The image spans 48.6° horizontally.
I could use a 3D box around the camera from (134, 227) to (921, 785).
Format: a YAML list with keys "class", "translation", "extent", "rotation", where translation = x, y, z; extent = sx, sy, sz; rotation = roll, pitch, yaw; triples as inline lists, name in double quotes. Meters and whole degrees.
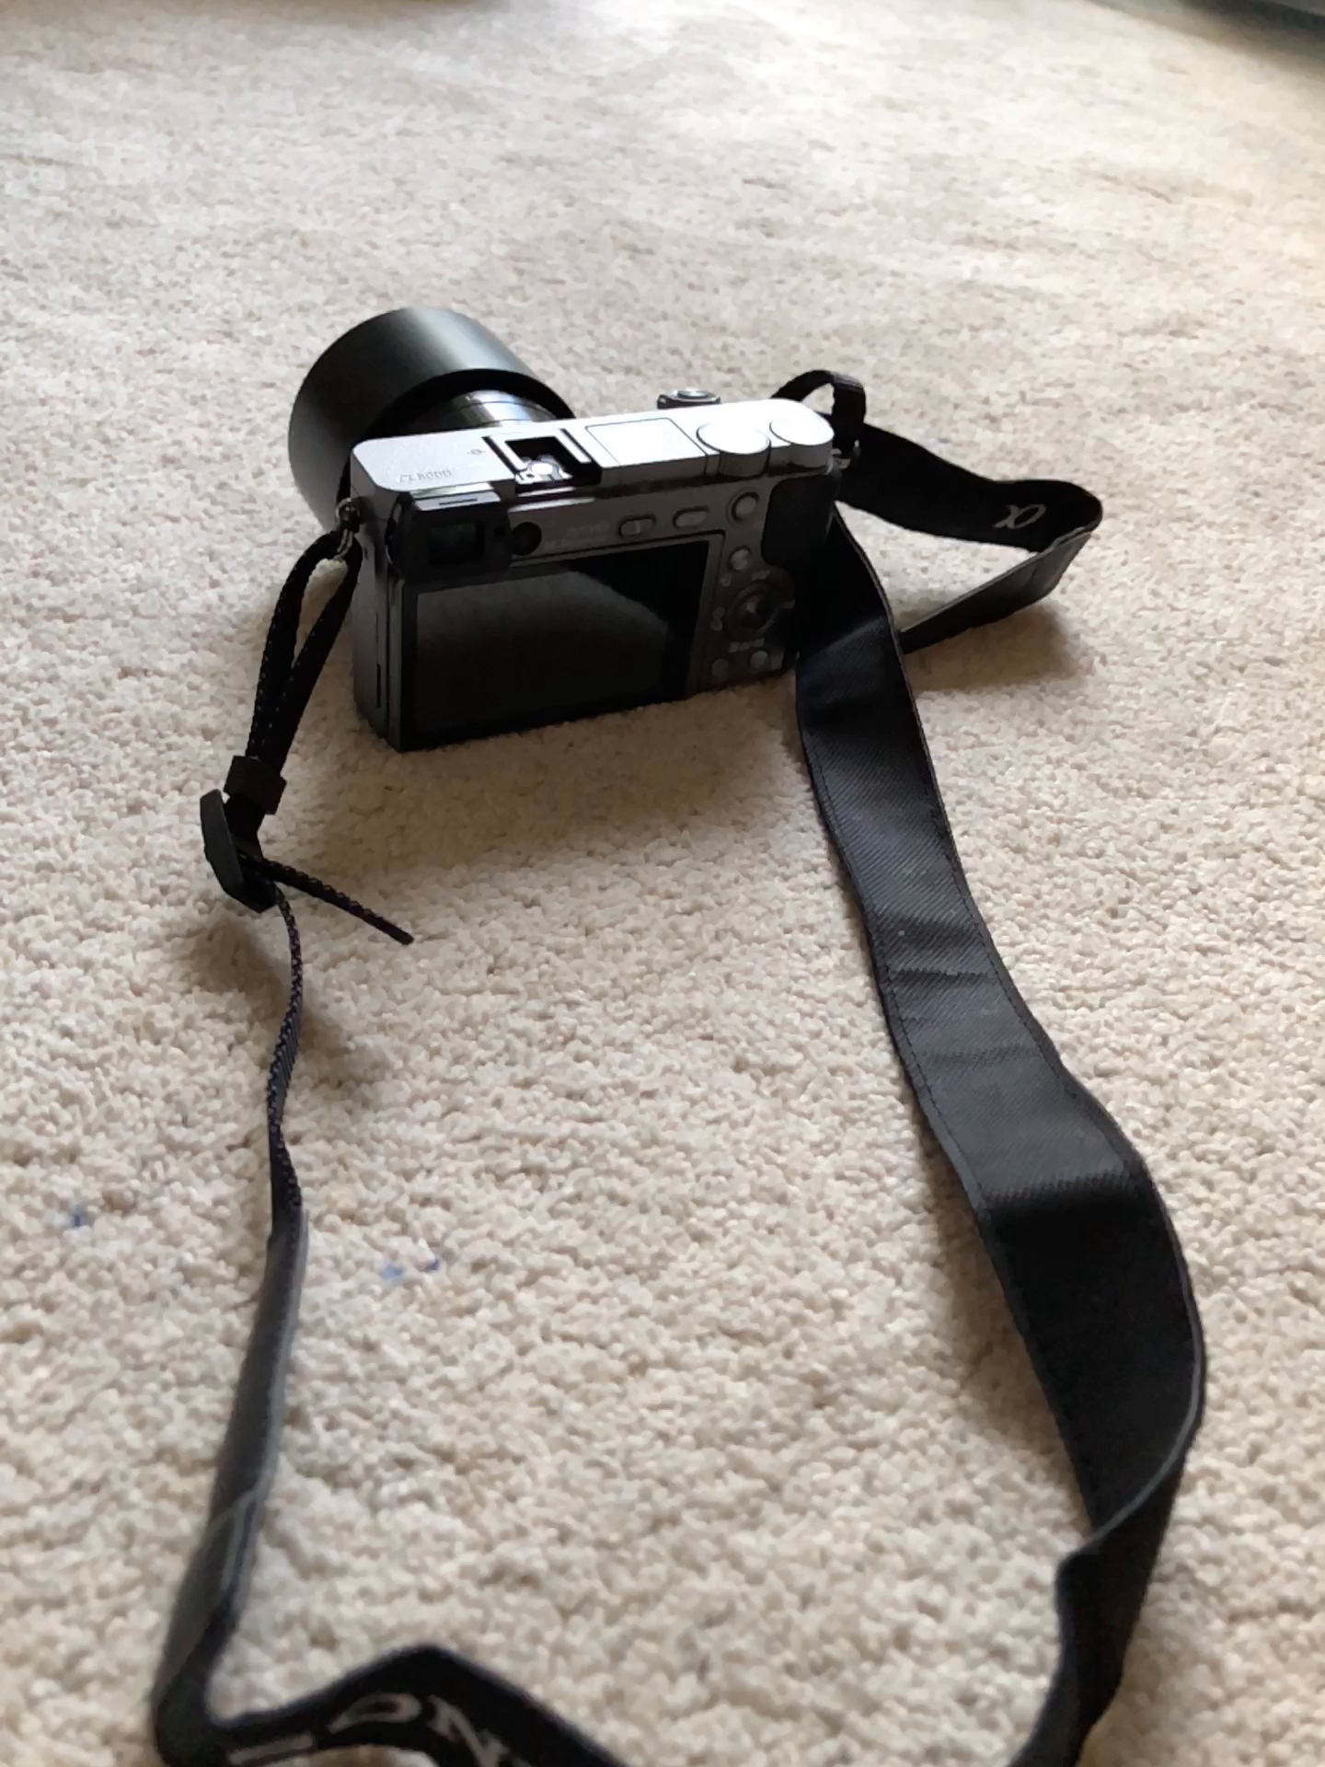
- class: "camera"
  translation: [-0.035, -0.098, 0.348]
  extent: [0.140, 0.070, 0.110]
  rotation: [-16, 47, -27]
